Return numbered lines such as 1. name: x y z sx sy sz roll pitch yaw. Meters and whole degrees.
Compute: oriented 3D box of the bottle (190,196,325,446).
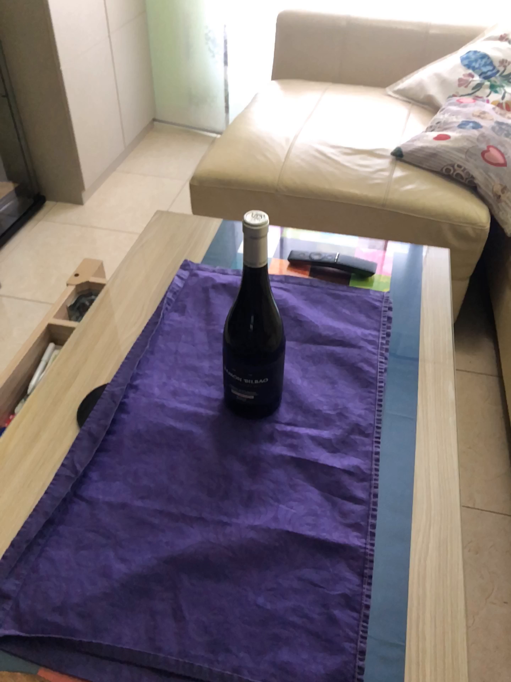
1. bottle: 0.001 -0.015 0.670 0.100 0.269 0.100 1 42 -1
